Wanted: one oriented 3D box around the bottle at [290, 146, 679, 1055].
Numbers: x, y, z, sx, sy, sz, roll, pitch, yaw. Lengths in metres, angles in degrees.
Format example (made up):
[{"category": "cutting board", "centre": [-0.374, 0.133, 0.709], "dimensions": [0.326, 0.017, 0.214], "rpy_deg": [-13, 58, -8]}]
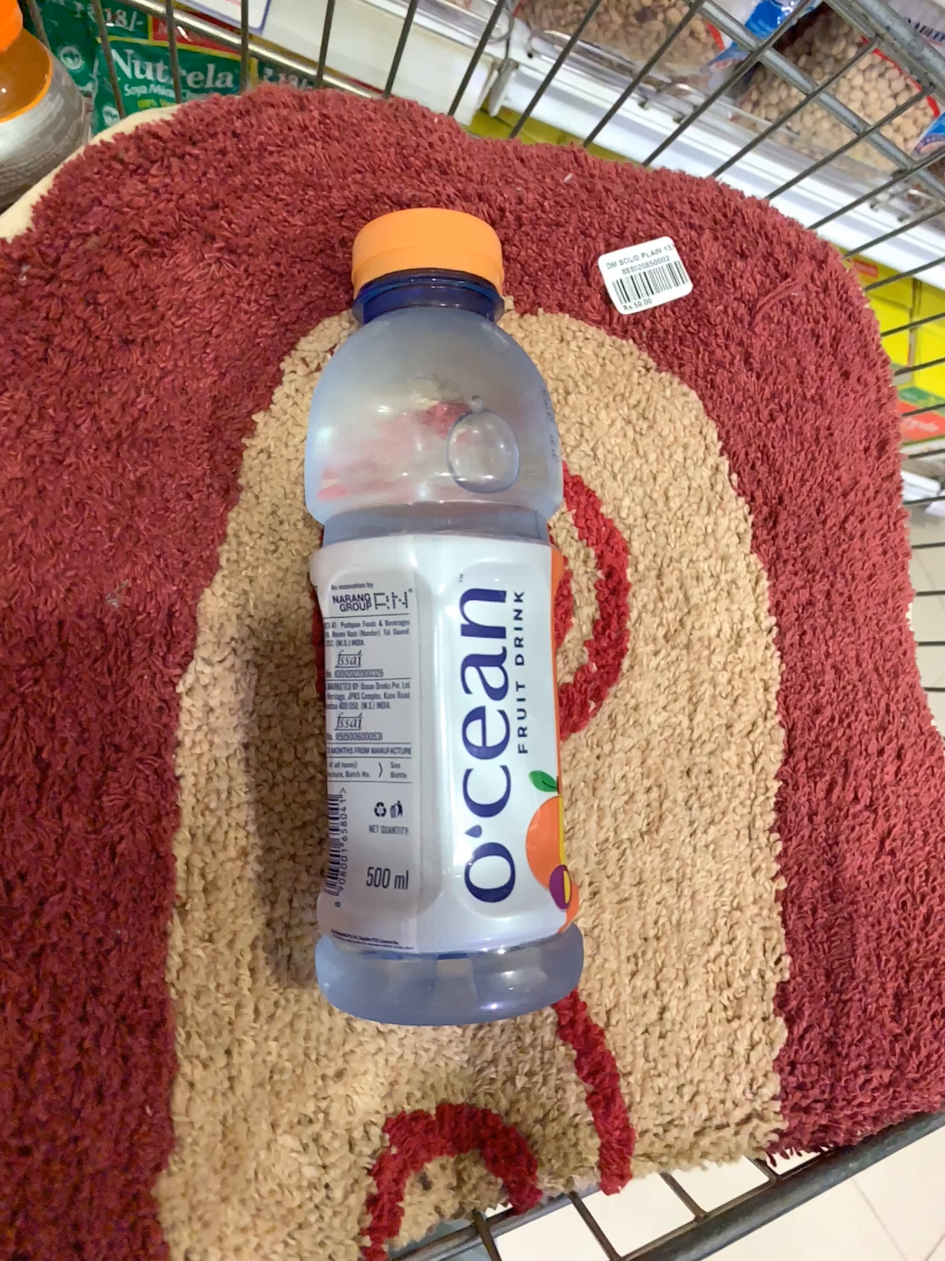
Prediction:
[{"category": "bottle", "centre": [0.001, -0.005, 0.236], "dimensions": [0.070, 0.060, 0.180], "rpy_deg": [2, 89, -28]}]
